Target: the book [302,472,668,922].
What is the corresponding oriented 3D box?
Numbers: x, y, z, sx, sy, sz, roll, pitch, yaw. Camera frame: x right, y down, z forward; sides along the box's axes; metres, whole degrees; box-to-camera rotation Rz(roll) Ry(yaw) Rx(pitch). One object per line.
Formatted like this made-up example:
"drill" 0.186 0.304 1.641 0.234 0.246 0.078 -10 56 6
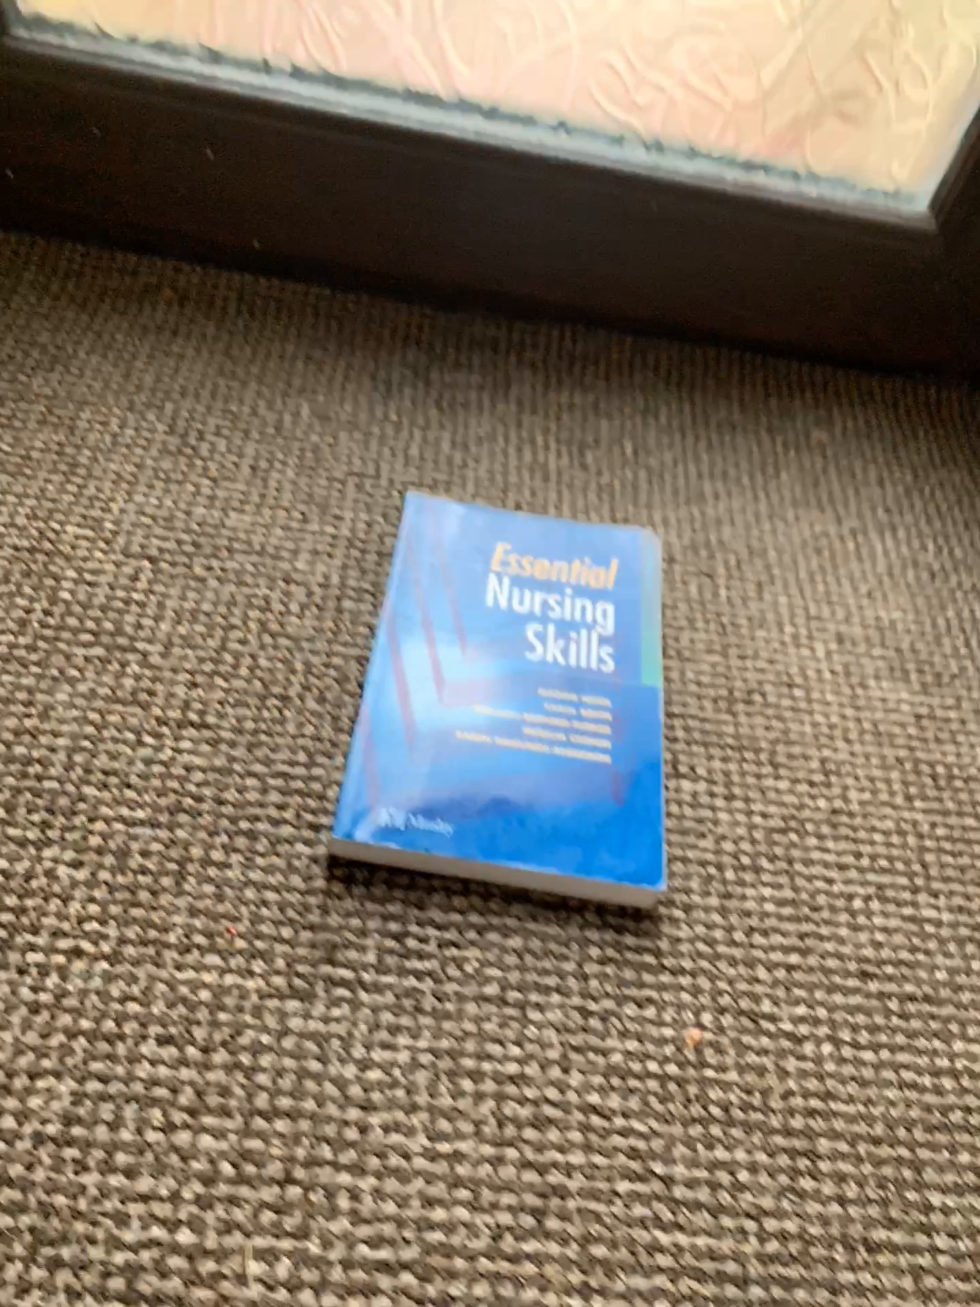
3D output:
"book" 0.010 0.009 0.548 0.170 0.020 0.252 9 53 -2
